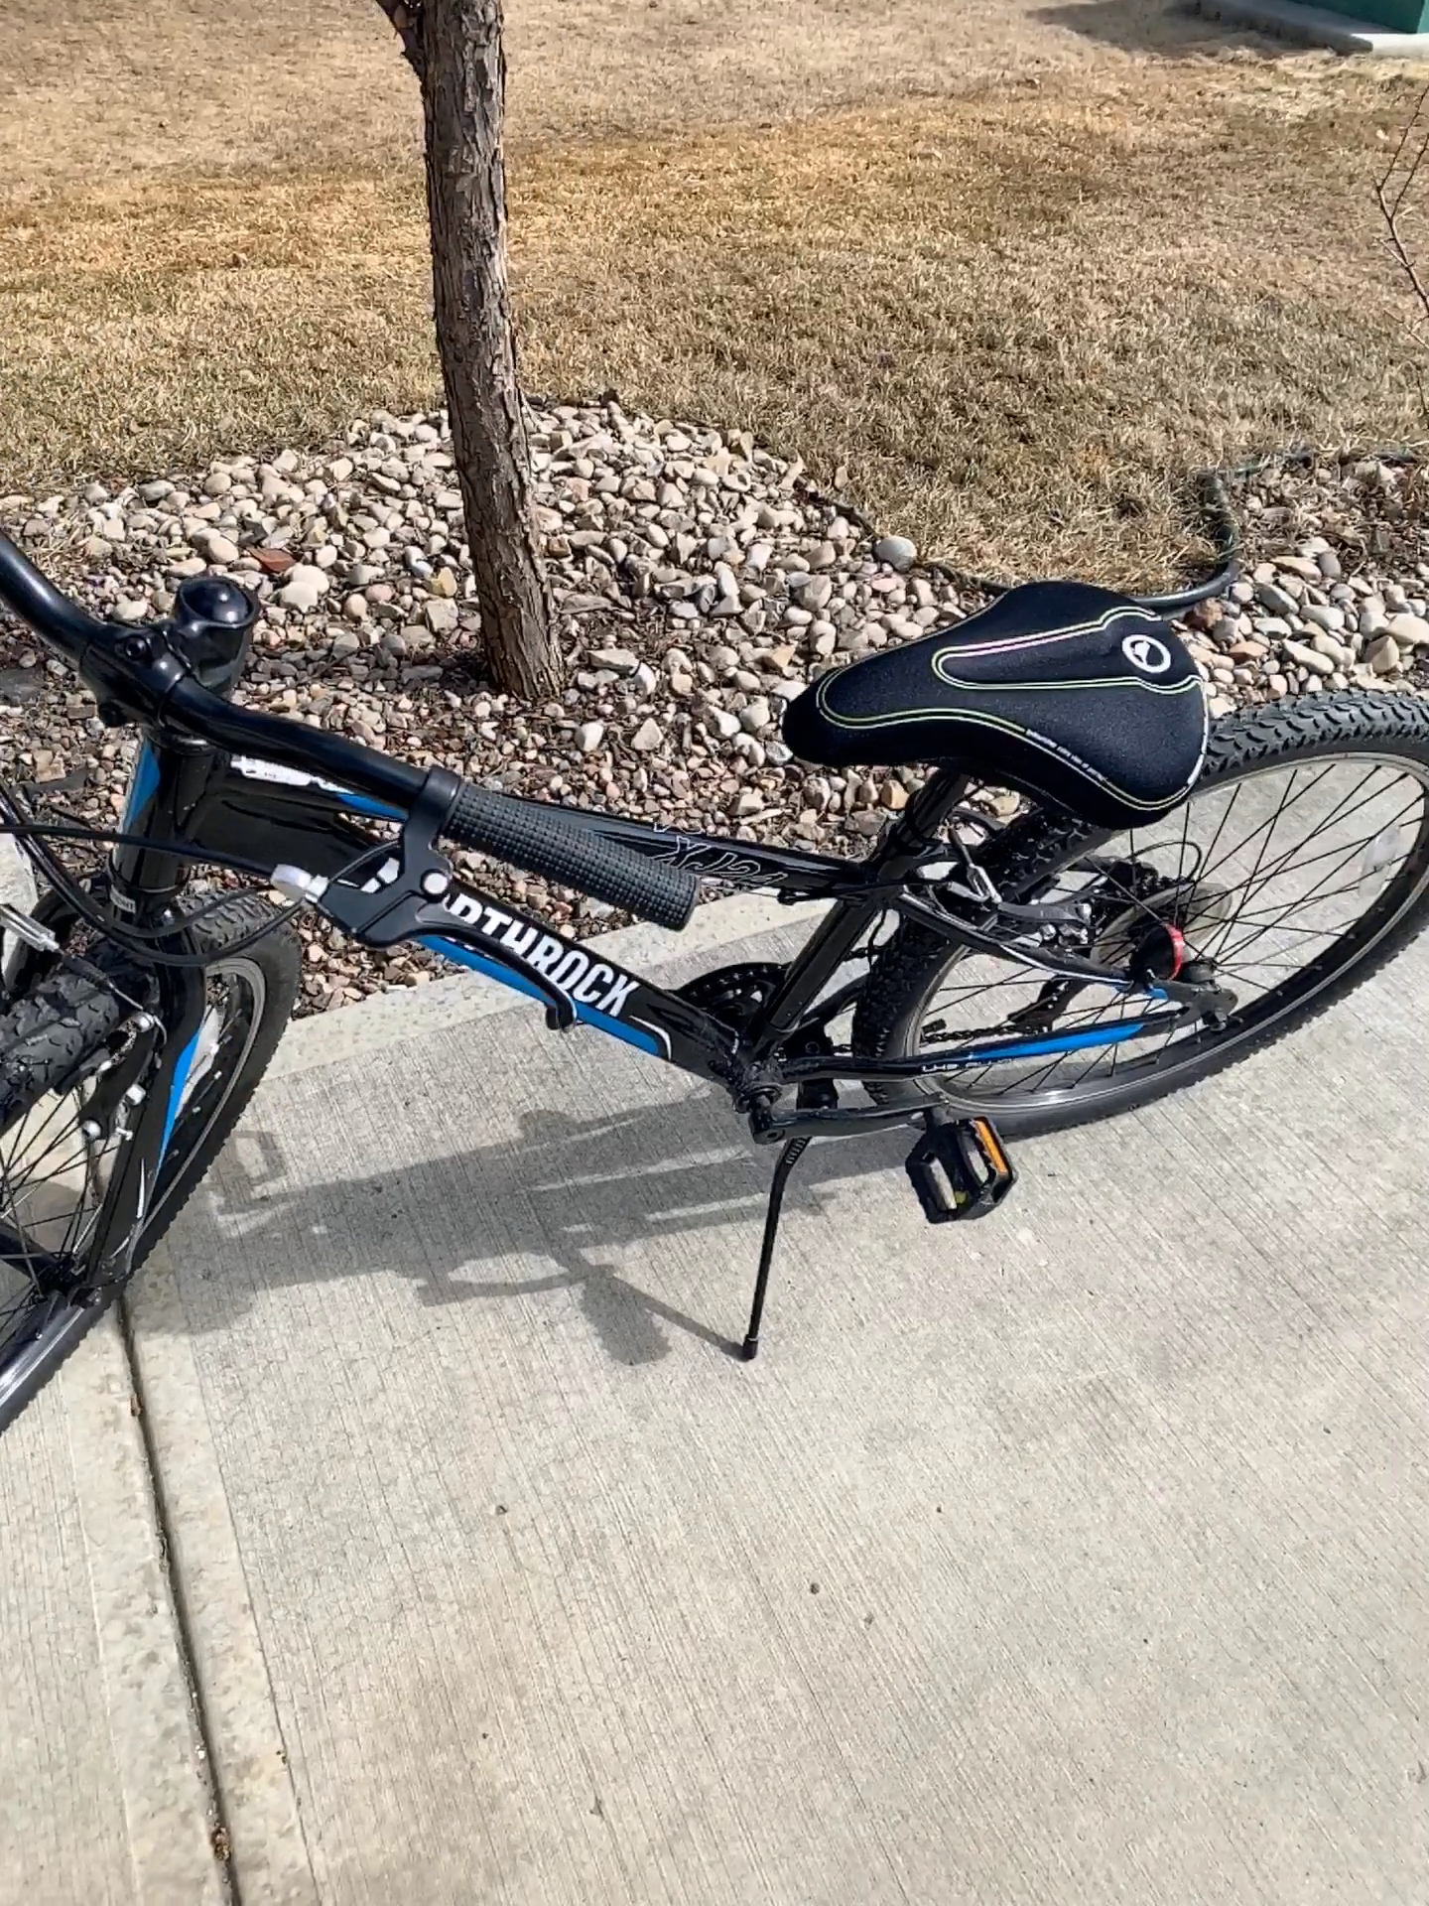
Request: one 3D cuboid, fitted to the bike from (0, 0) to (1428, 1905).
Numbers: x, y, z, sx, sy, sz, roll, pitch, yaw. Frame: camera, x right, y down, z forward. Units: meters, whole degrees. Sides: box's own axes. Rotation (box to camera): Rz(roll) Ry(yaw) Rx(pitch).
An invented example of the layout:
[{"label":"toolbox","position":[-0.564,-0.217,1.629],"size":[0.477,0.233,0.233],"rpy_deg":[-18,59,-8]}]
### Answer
[{"label":"bike","position":[0.002,0.094,0.944],"size":[1.390,0.885,0.516],"rpy_deg":[-21,47,-14]}]
